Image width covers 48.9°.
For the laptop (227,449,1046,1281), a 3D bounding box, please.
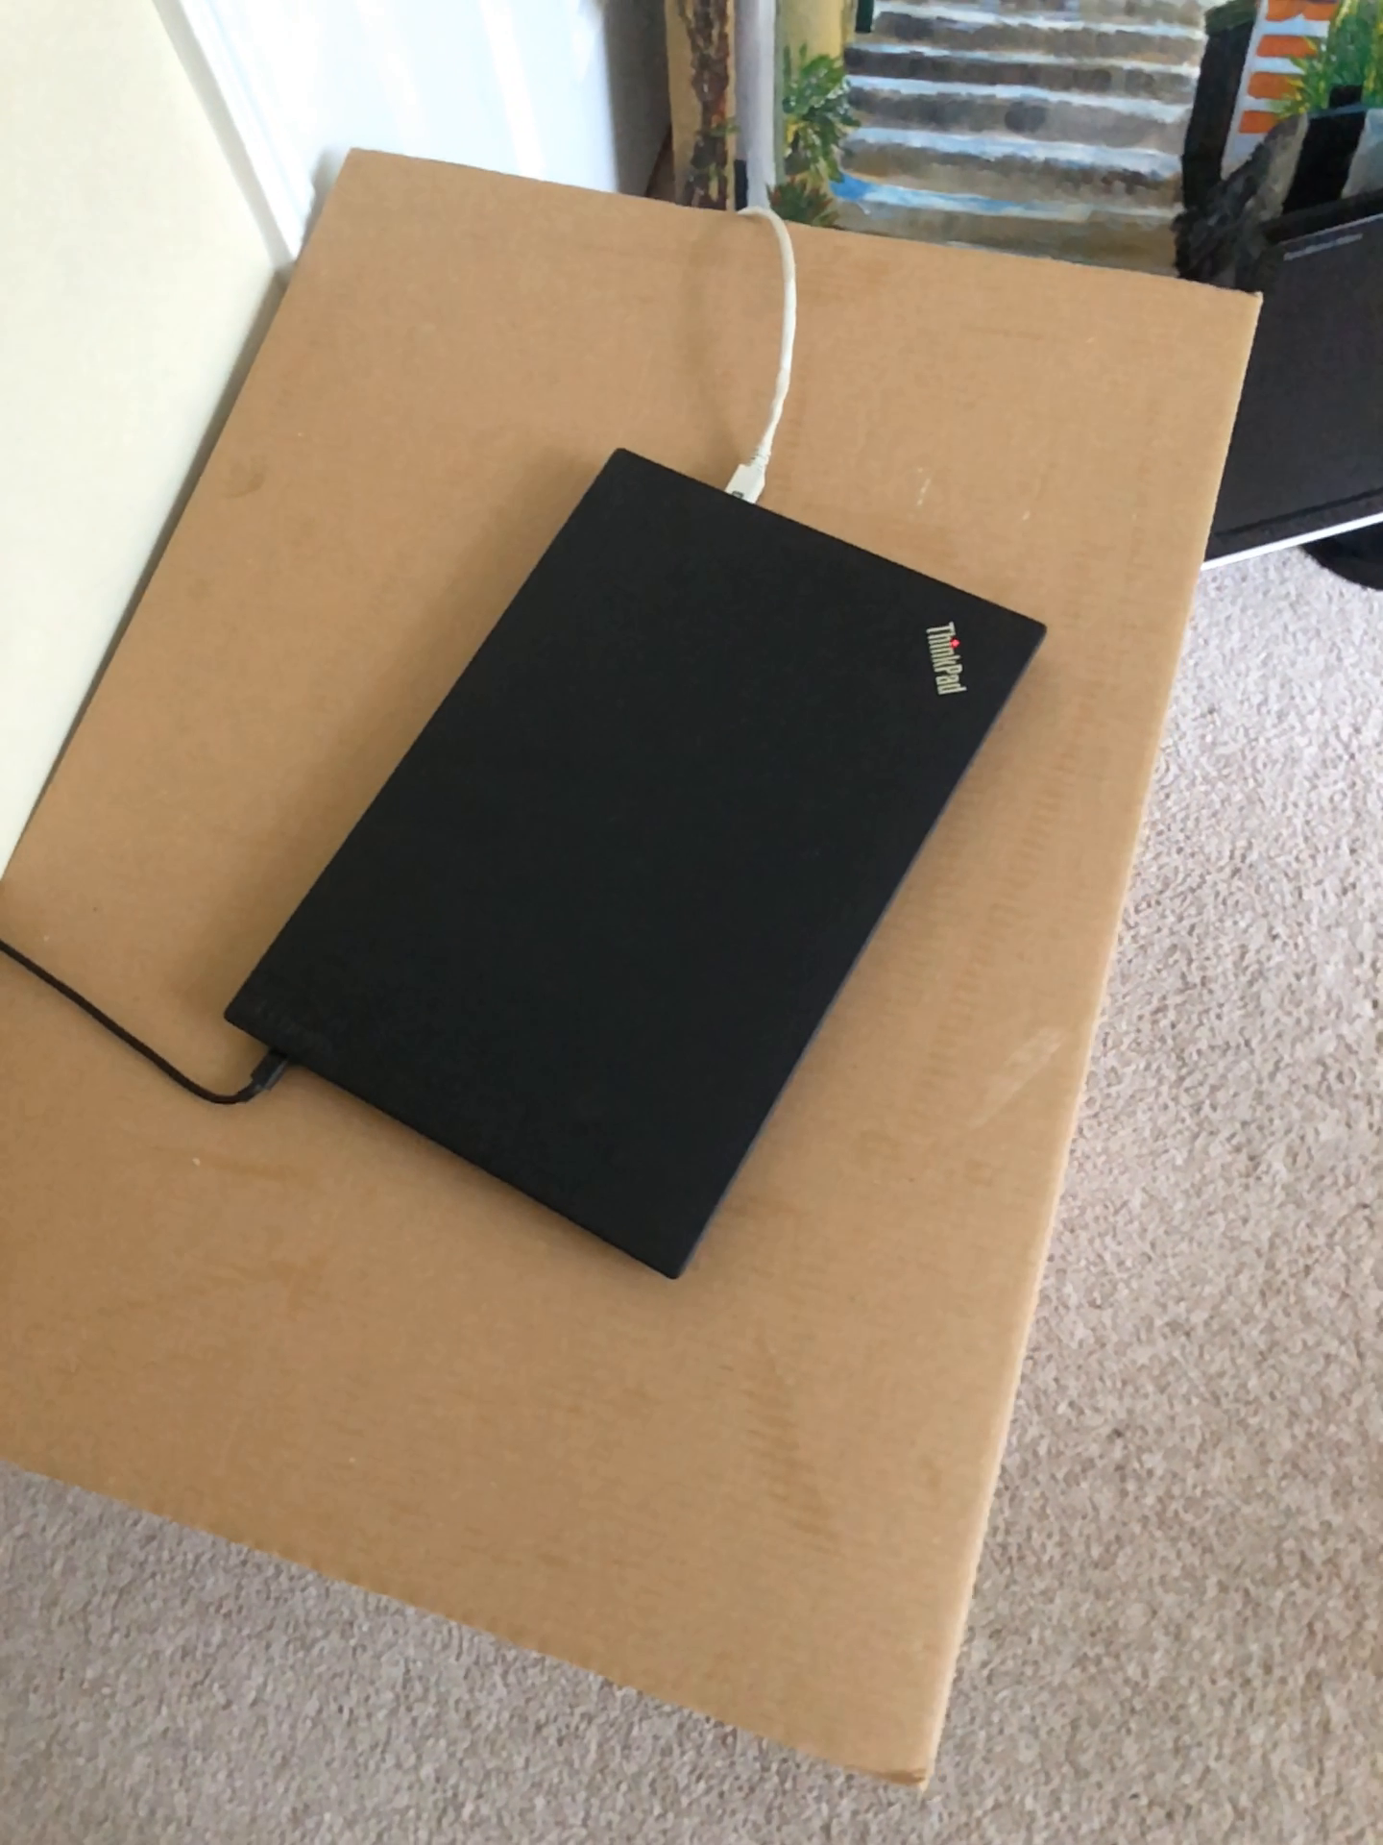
[{"bbox_3d":[-0.020,-0.047,0.660,0.225,0.002,0.328,27,72,16],"label":"laptop"}]
